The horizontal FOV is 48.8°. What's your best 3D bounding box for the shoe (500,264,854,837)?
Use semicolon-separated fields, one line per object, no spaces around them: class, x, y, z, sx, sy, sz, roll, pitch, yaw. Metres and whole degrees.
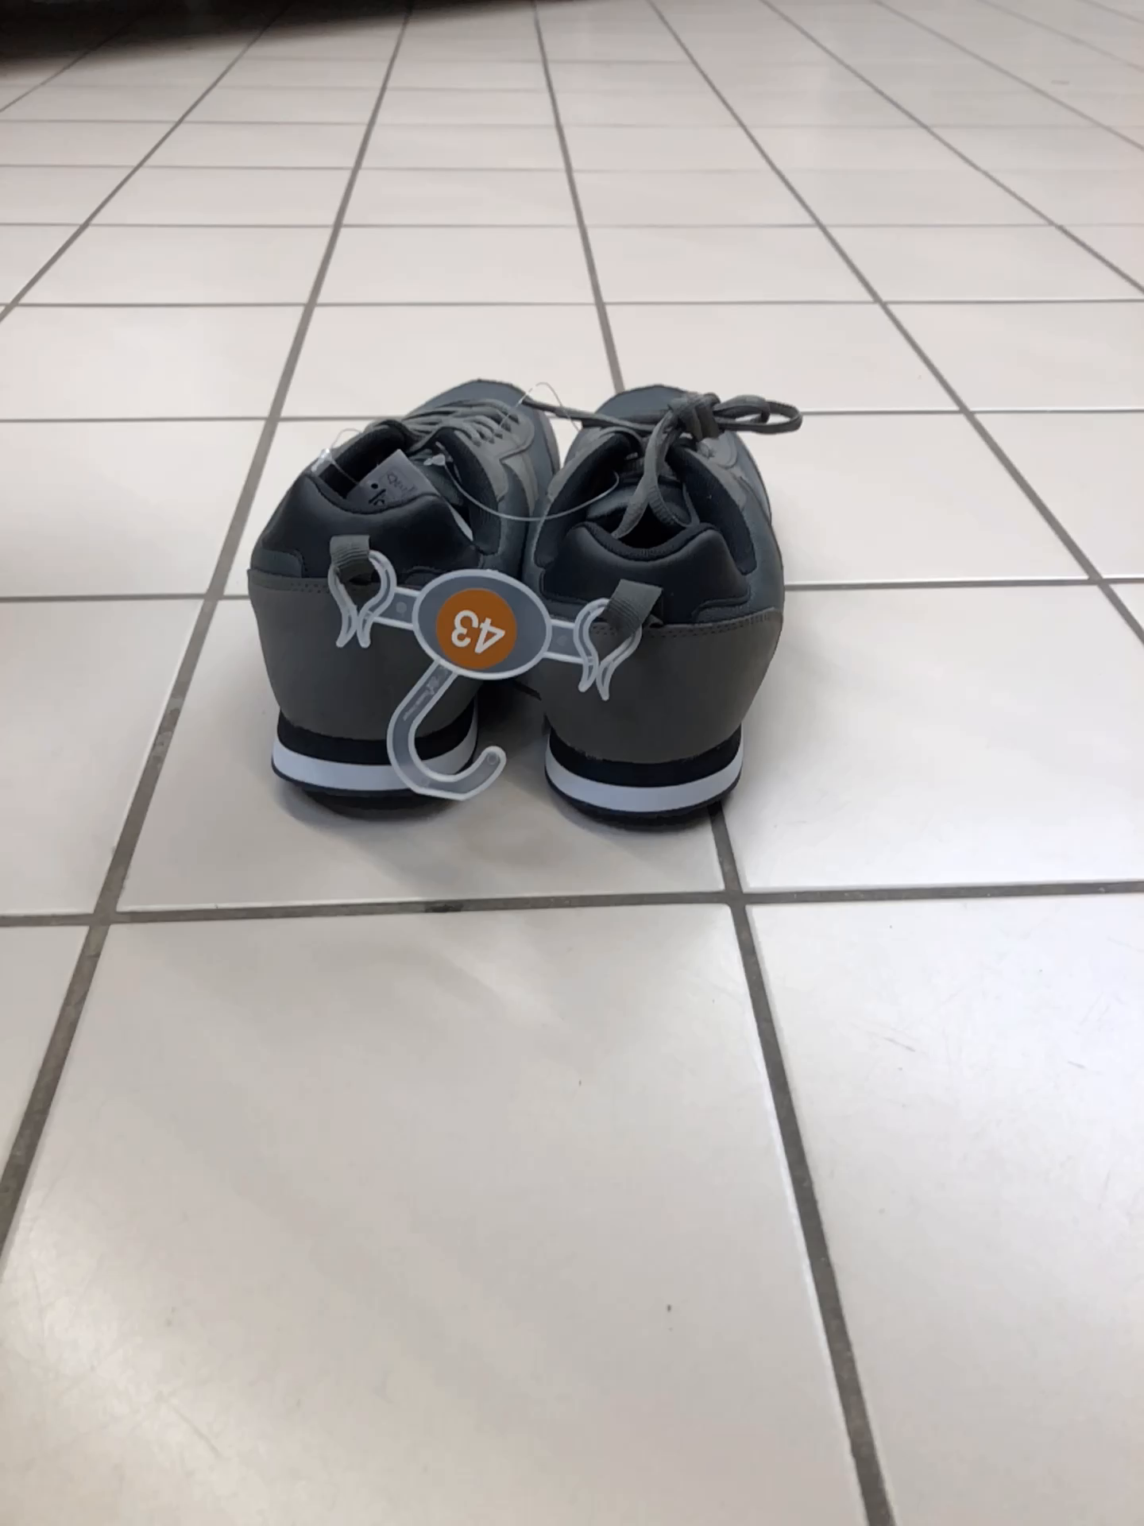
shoe;0.036;-0.105;0.503;0.100;0.099;0.292;2;37;2

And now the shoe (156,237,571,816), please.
shoe;-0.058;-0.112;0.490;0.100;0.099;0.292;2;37;2
